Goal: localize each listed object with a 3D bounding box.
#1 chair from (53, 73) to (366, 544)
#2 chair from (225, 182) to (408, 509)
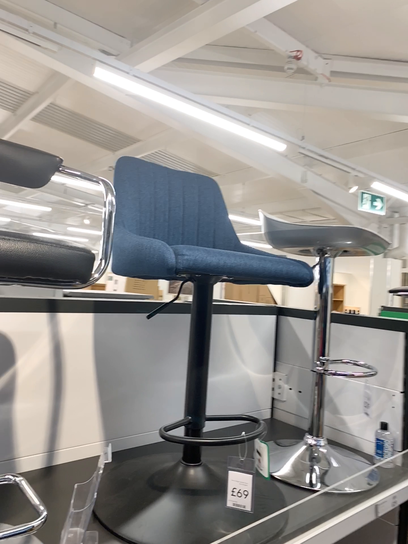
[{"bbox_3d":[0.016,0.104,1.066,0.538,0.873,0.507,7,-4,-40],"label":"chair"},{"bbox_3d":[0.370,0.175,1.255,0.408,0.763,0.387,7,-4,-40],"label":"chair"}]
